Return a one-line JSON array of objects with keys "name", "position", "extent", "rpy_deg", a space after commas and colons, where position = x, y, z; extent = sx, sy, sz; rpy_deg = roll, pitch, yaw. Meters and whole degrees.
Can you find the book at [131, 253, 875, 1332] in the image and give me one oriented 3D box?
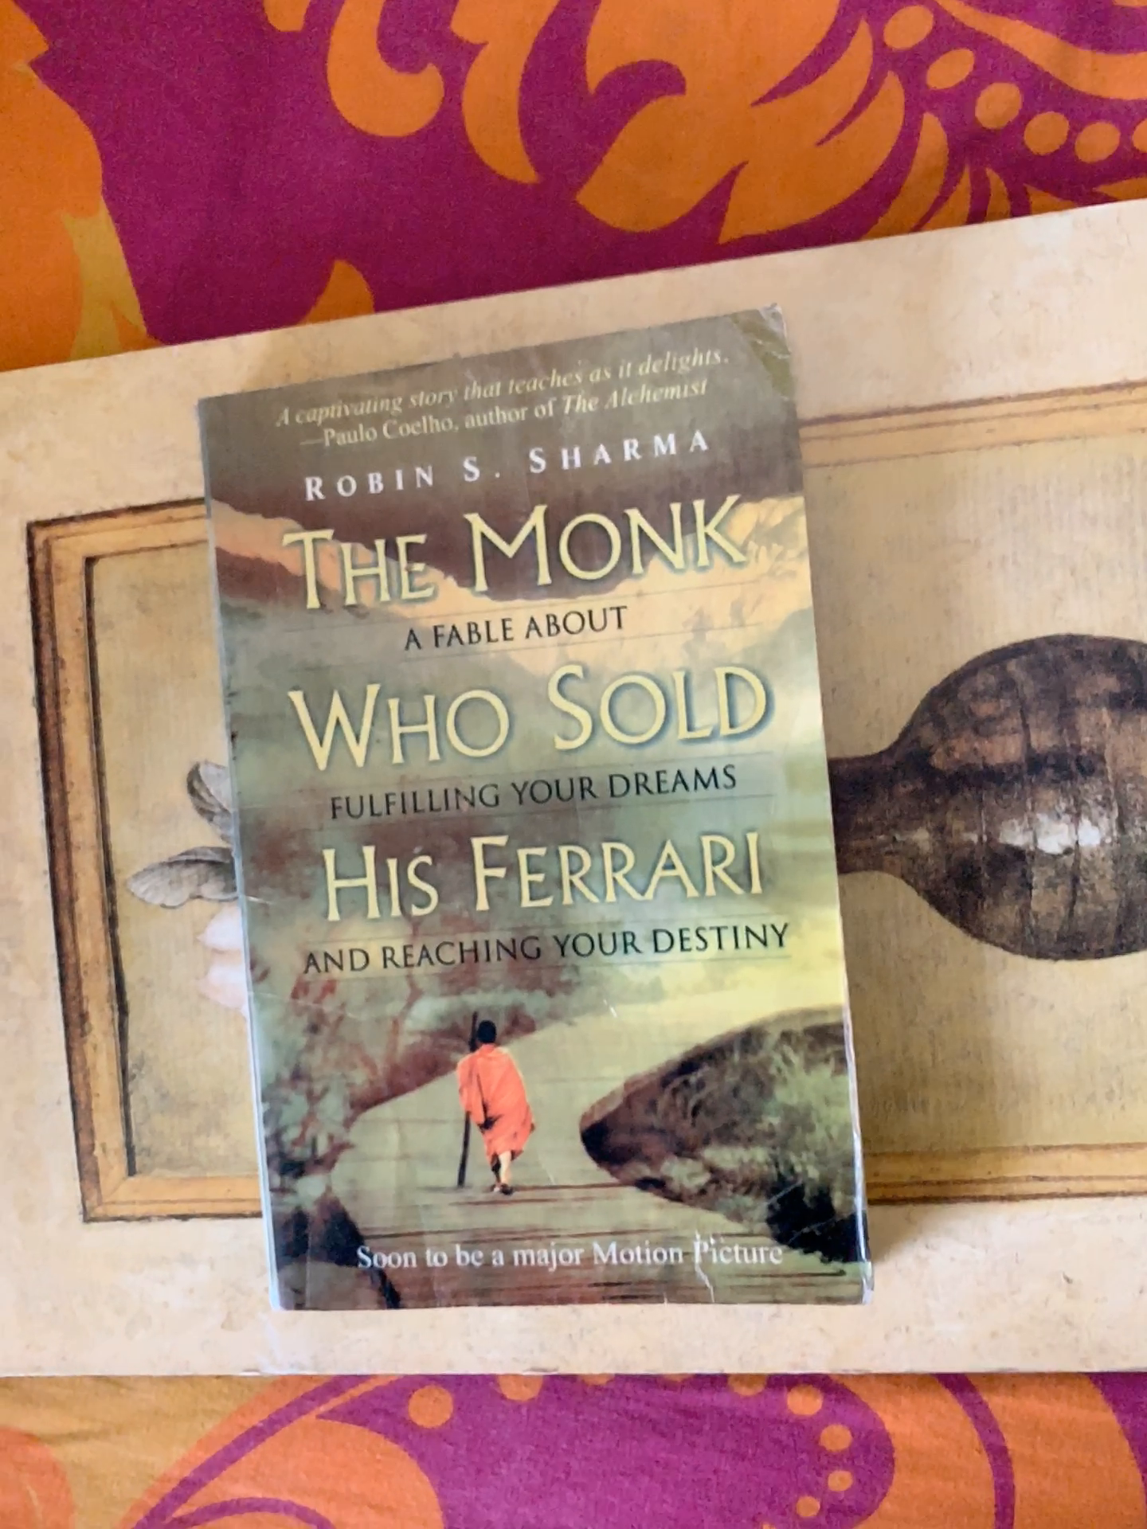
[{"name": "book", "position": [-0.015, 0.009, 0.249], "extent": [0.130, 0.030, 0.200], "rpy_deg": [-6, 89, 8]}]
